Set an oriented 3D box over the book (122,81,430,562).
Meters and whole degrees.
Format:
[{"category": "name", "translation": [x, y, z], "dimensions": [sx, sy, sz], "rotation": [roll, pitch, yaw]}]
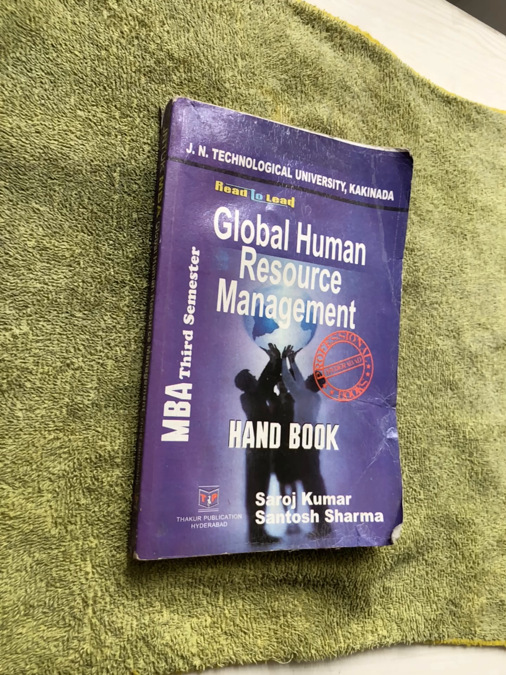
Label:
[{"category": "book", "translation": [0.017, -0.003, 0.279], "dimensions": [0.140, 0.040, 0.200], "rotation": [6, 83, -24]}]
